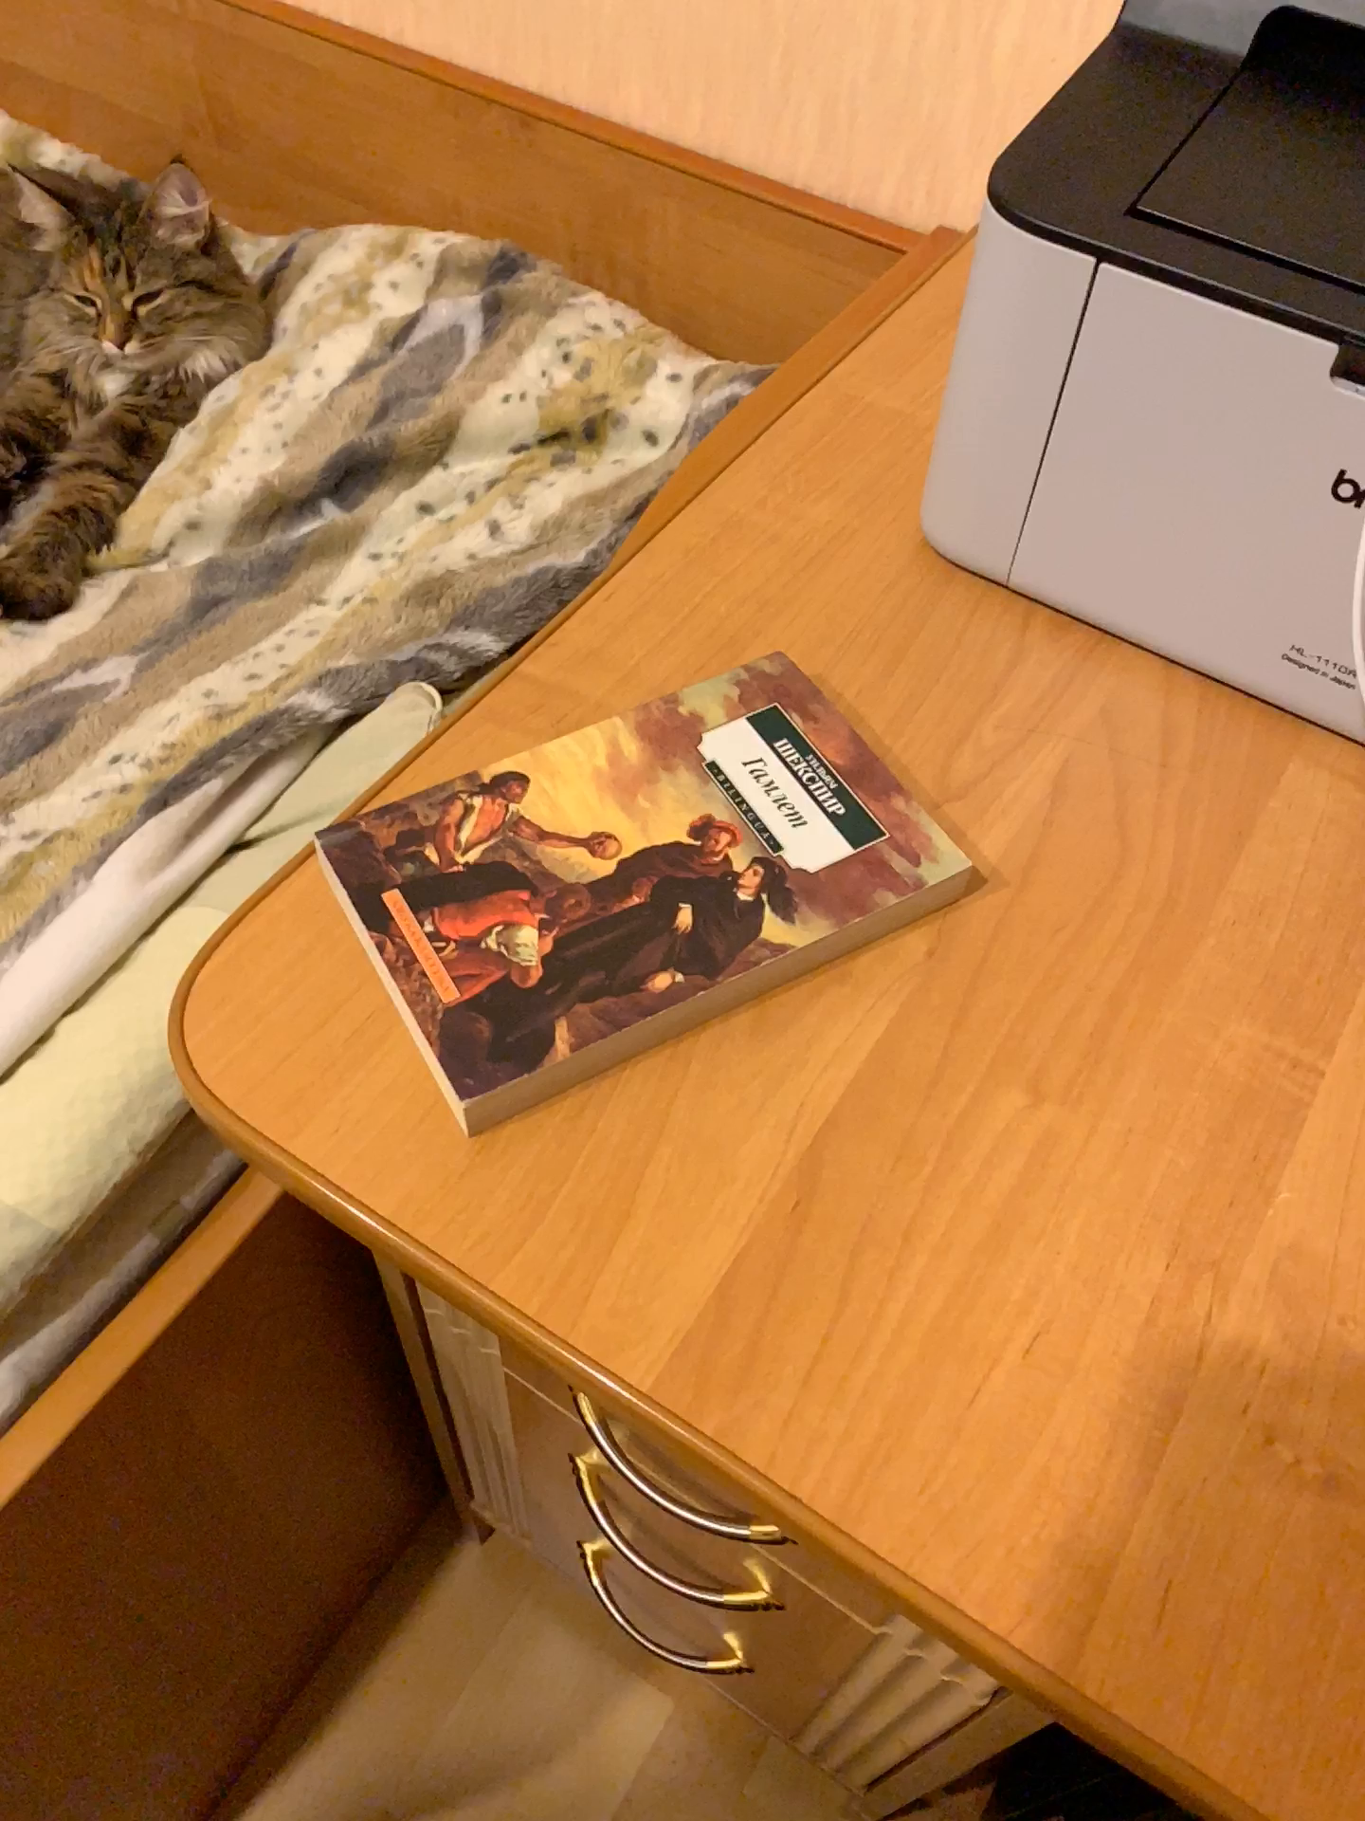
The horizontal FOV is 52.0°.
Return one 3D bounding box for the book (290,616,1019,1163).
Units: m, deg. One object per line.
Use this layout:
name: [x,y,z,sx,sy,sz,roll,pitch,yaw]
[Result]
book: [-0.009,-0.016,0.442,0.190,0.030,0.121,-23,58,-18]
